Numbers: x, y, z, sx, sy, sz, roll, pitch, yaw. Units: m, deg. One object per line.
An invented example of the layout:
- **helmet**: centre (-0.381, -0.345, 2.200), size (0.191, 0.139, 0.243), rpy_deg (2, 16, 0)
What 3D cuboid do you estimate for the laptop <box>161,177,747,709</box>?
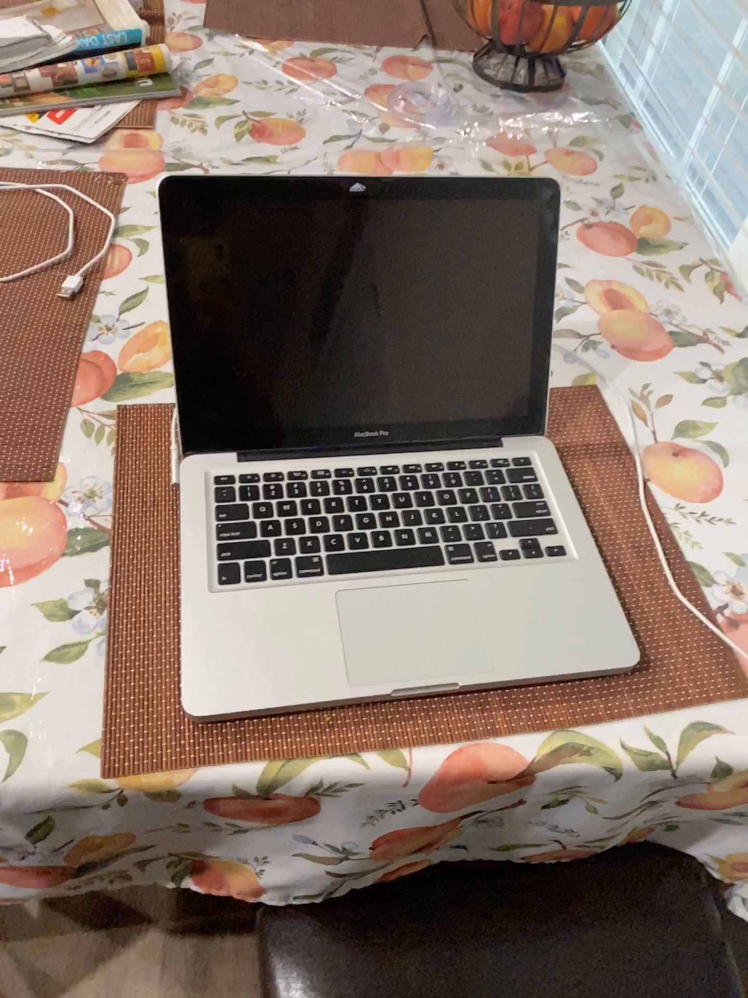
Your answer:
- **laptop**: centre (0.020, -0.064, 0.560), size (0.317, 0.162, 0.350), rpy_deg (-4, 53, -10)
